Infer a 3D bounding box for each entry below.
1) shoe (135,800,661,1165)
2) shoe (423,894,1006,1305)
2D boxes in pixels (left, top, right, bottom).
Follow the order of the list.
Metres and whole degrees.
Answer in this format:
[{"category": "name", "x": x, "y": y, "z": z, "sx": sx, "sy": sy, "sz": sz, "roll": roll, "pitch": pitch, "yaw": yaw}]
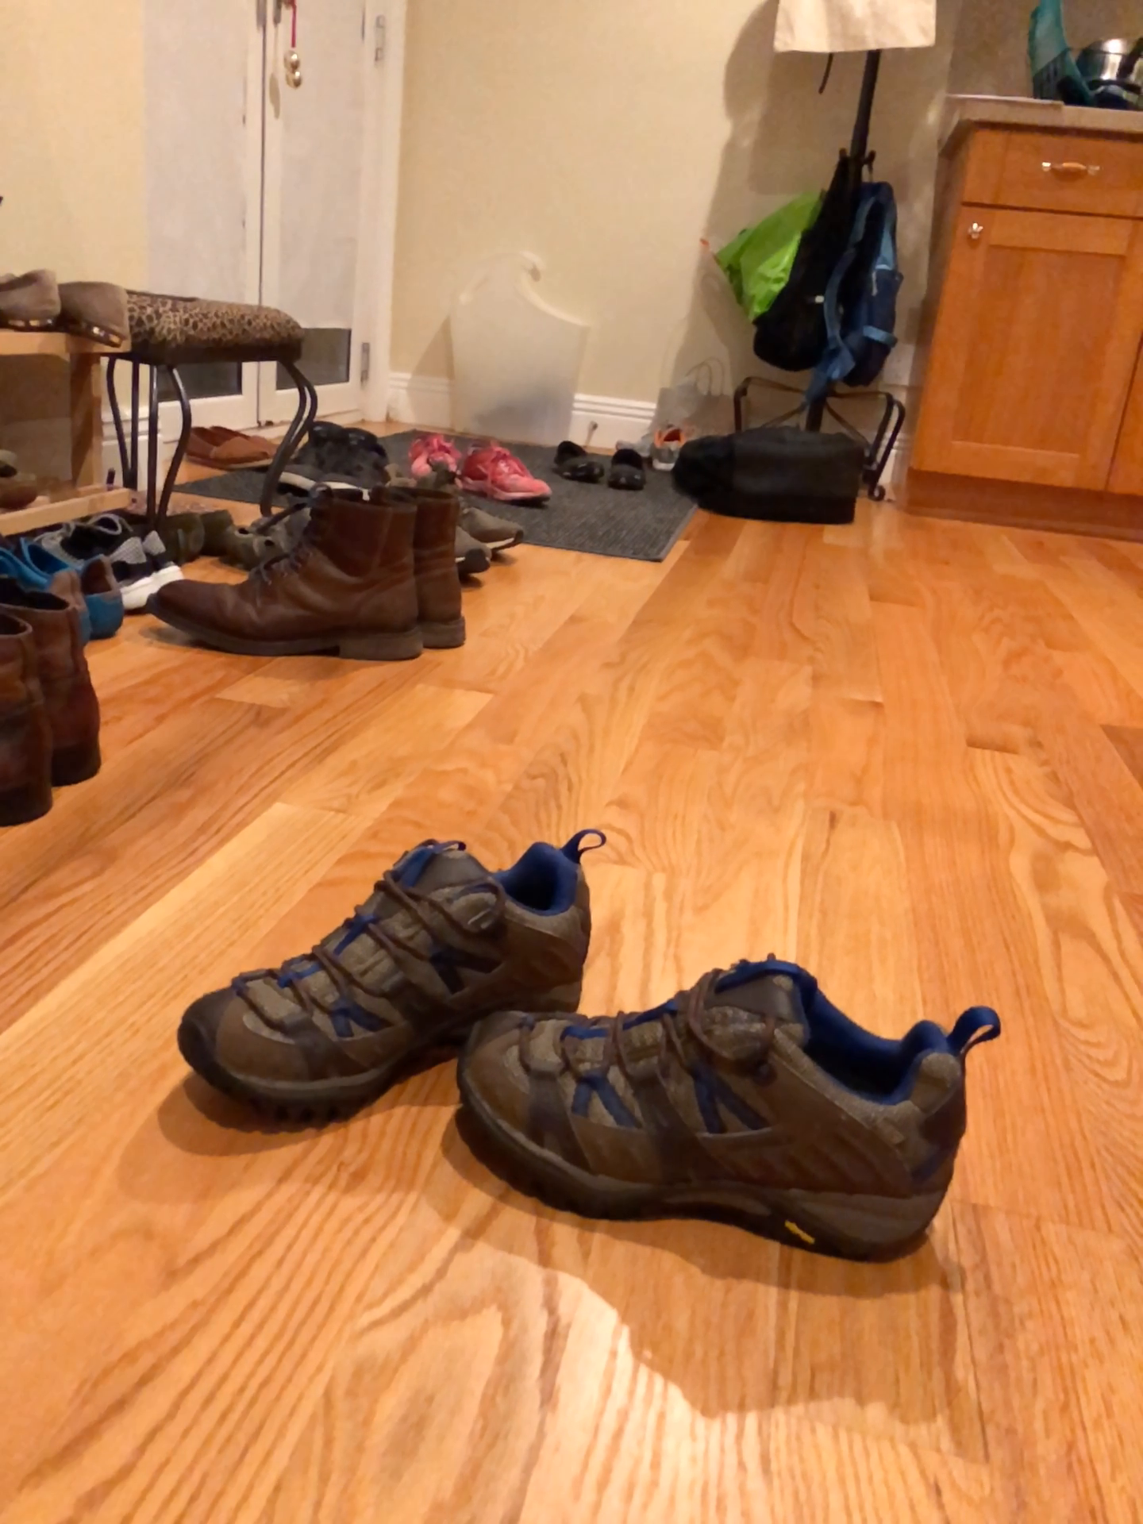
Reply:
[{"category": "shoe", "x": -0.084, "y": 0.100, "z": 0.650, "sx": 0.252, "sy": 0.094, "sz": 0.097, "roll": -10, "pitch": 25, "yaw": -38}, {"category": "shoe", "x": 0.063, "y": 0.150, "z": 0.584, "sx": 0.240, "sy": 0.106, "sz": 0.095, "roll": 9, "pitch": 20, "yaw": 9}]
